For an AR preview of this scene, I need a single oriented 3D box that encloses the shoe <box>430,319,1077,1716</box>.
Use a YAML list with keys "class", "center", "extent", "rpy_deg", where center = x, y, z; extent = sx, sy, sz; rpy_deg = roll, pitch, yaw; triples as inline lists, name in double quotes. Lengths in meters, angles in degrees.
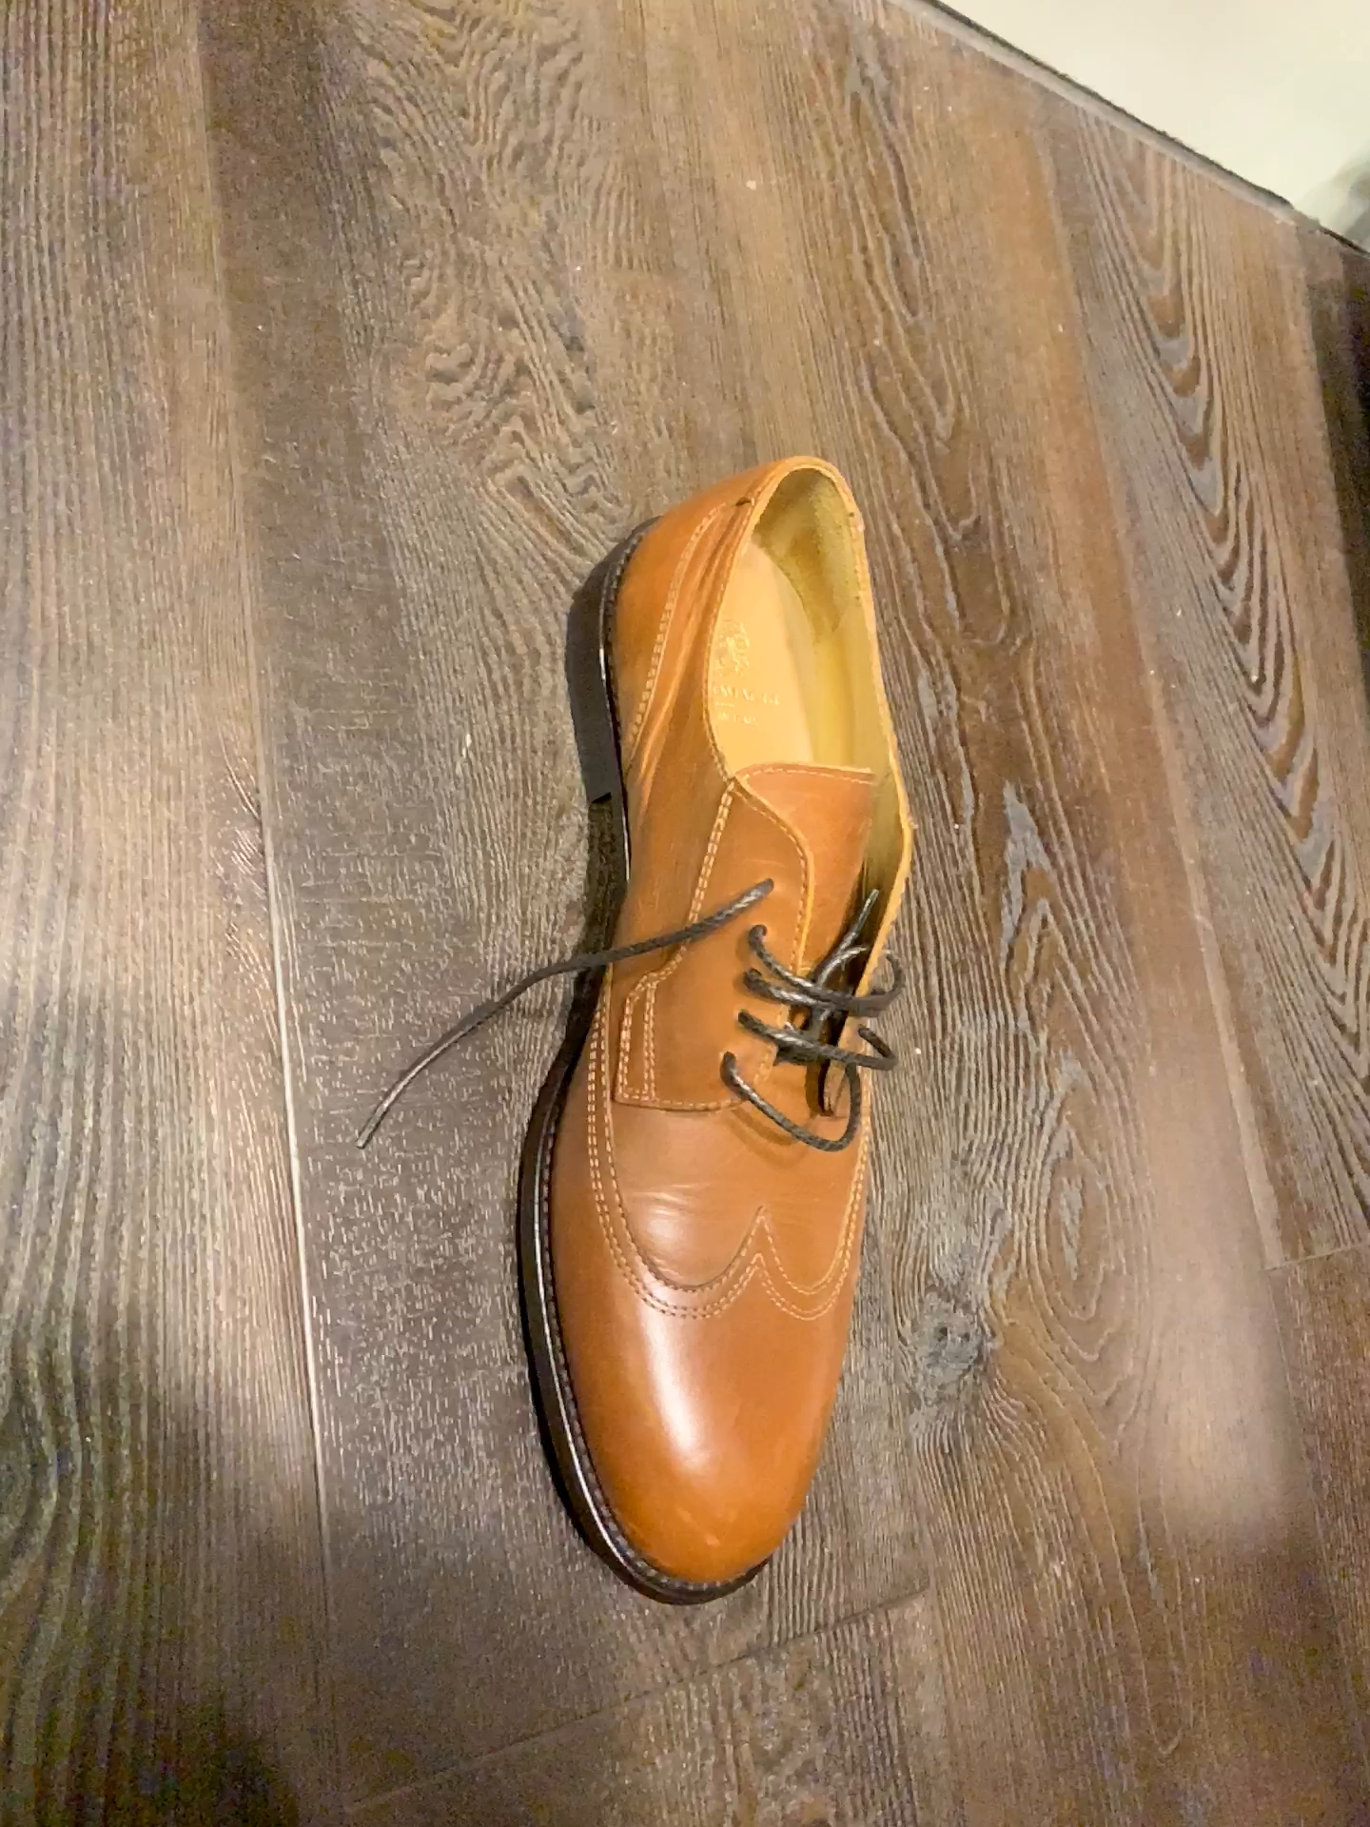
- class: "shoe"
  center: [0.016, 0.023, 0.392]
  extent: [0.120, 0.109, 0.321]
  rpy_deg: [10, 72, -29]
